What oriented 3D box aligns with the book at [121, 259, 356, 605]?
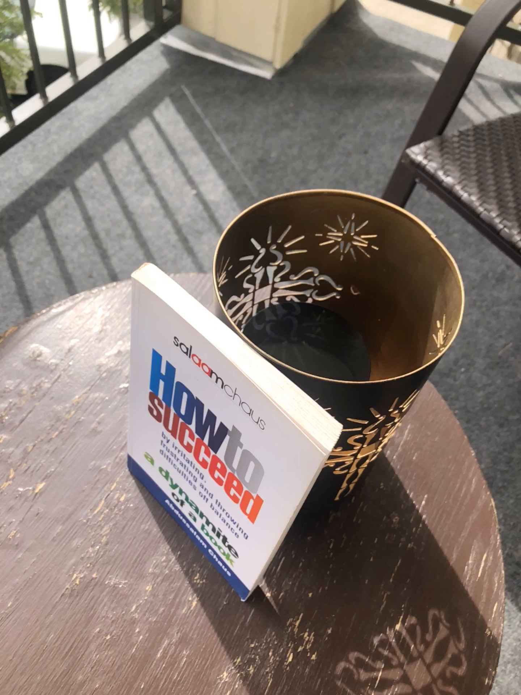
[{"bbox_3d":[-0.033,0.066,0.352,0.138,0.208,0.018,41,53,20],"label":"book"}]
